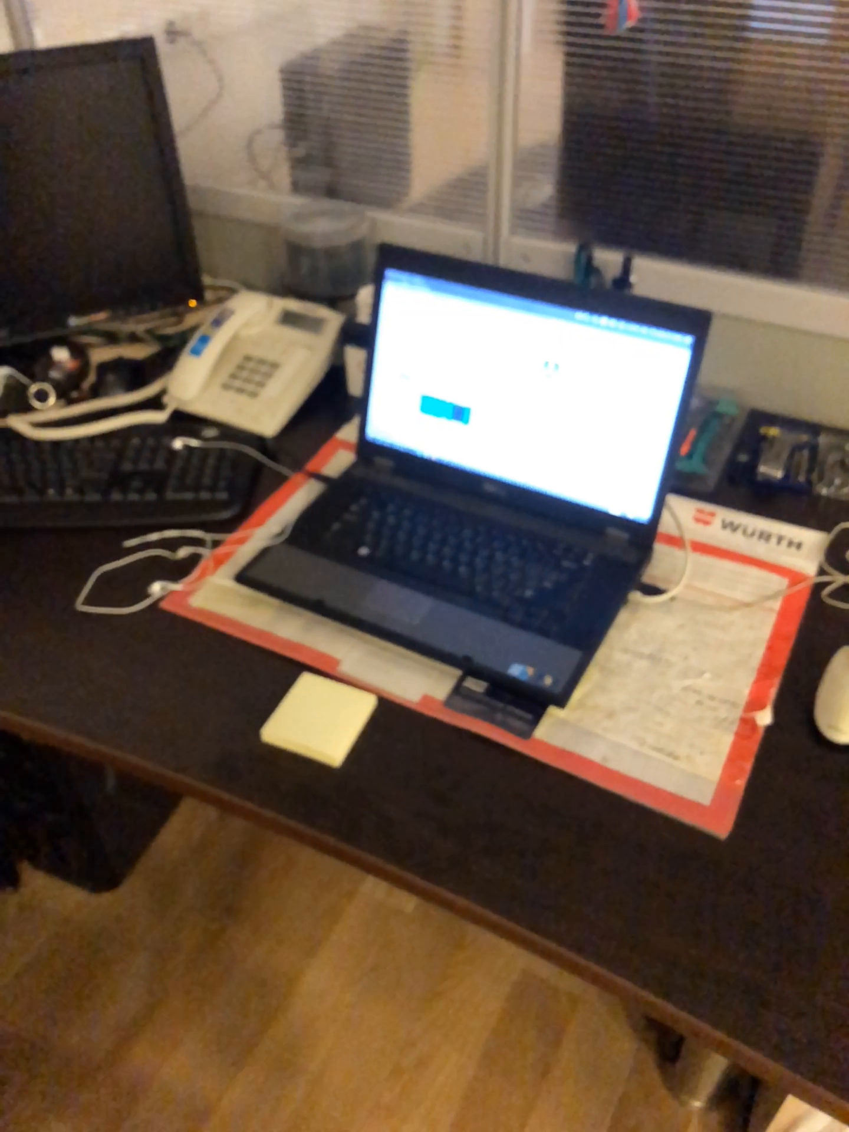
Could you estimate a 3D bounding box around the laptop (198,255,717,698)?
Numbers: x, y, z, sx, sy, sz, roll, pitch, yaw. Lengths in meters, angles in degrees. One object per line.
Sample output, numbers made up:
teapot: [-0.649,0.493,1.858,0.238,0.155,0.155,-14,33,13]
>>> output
laptop: [0.035,-0.094,0.810,0.317,0.209,0.257,19,45,22]
